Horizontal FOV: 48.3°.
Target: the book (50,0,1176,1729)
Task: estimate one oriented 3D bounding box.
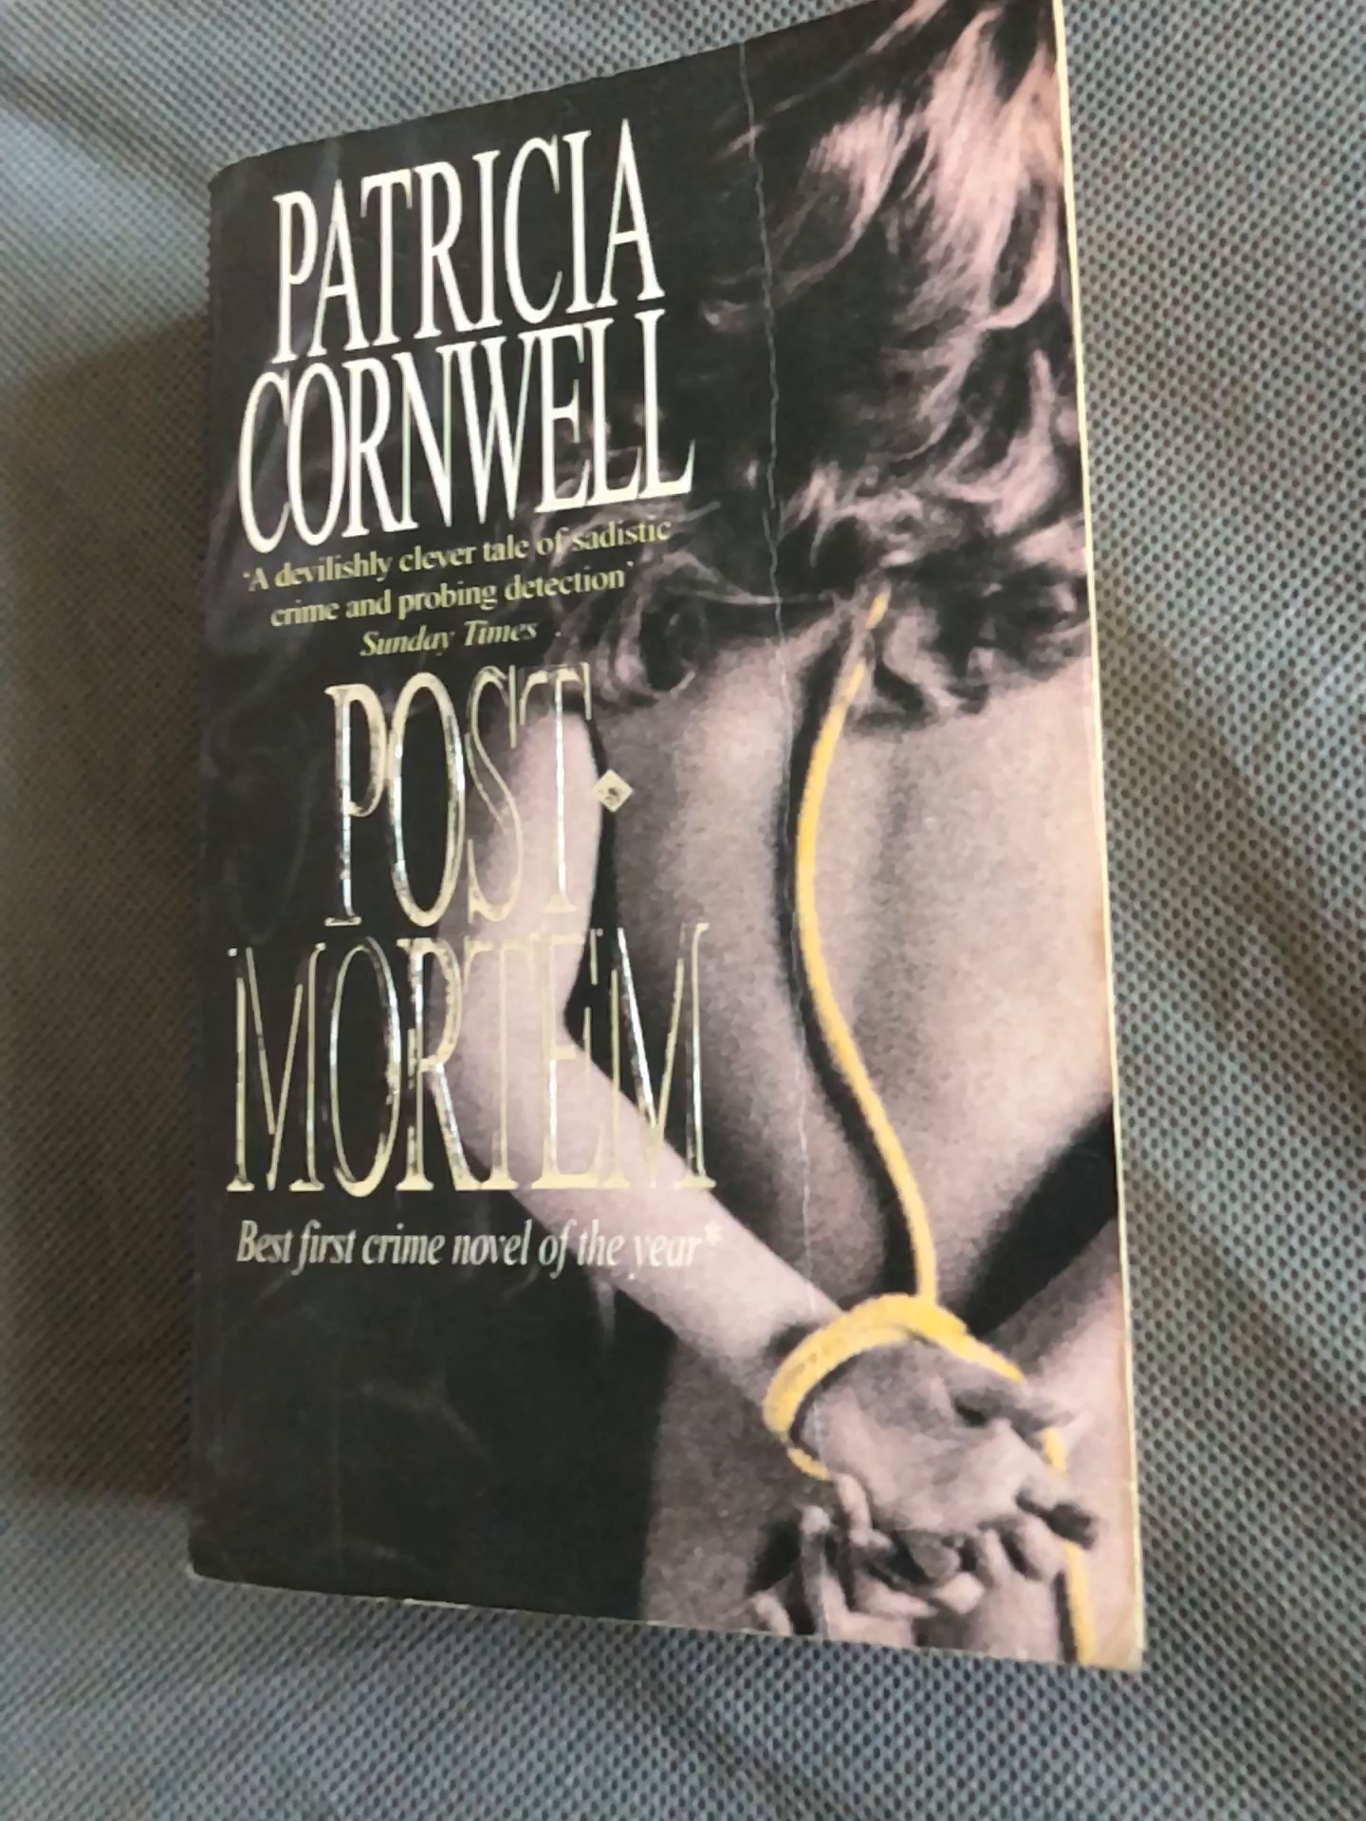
[{"bbox_3d":[-0.006,-0.015,0.178,0.110,0.050,0.180,-3,81,16],"label":"book"}]
